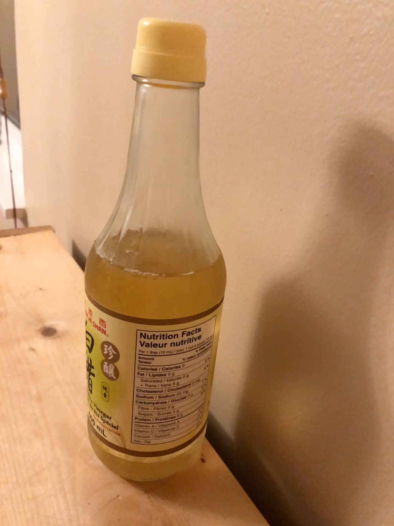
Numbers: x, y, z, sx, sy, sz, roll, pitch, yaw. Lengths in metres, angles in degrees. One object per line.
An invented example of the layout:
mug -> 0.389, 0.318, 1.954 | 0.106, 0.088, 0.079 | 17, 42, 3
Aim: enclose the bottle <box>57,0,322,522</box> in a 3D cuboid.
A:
bottle -> -0.019, 0.006, 0.228 | 0.080, 0.239, 0.080 | 5, 25, -2
